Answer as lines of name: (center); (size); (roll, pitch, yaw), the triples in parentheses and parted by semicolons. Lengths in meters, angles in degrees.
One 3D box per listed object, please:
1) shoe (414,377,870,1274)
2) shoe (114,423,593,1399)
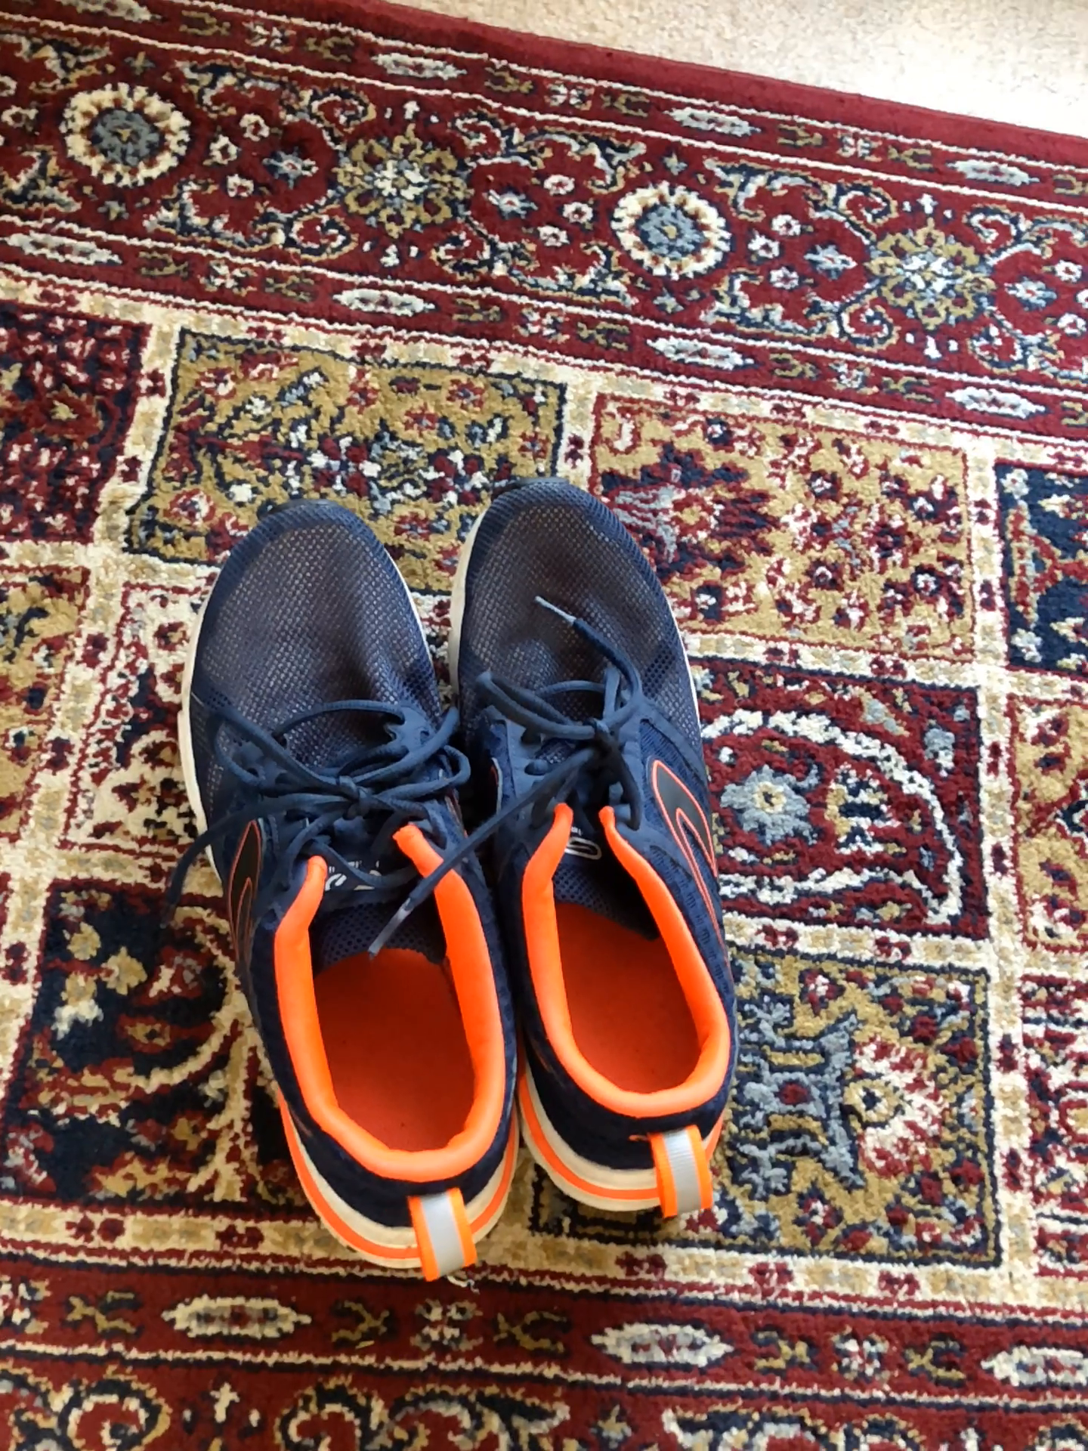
shoe: (0.021, 0.035, 0.505); (0.120, 0.130, 0.331); (-5, 71, -8)
shoe: (-0.082, 0.062, 0.486); (0.120, 0.130, 0.331); (-9, 72, -9)
